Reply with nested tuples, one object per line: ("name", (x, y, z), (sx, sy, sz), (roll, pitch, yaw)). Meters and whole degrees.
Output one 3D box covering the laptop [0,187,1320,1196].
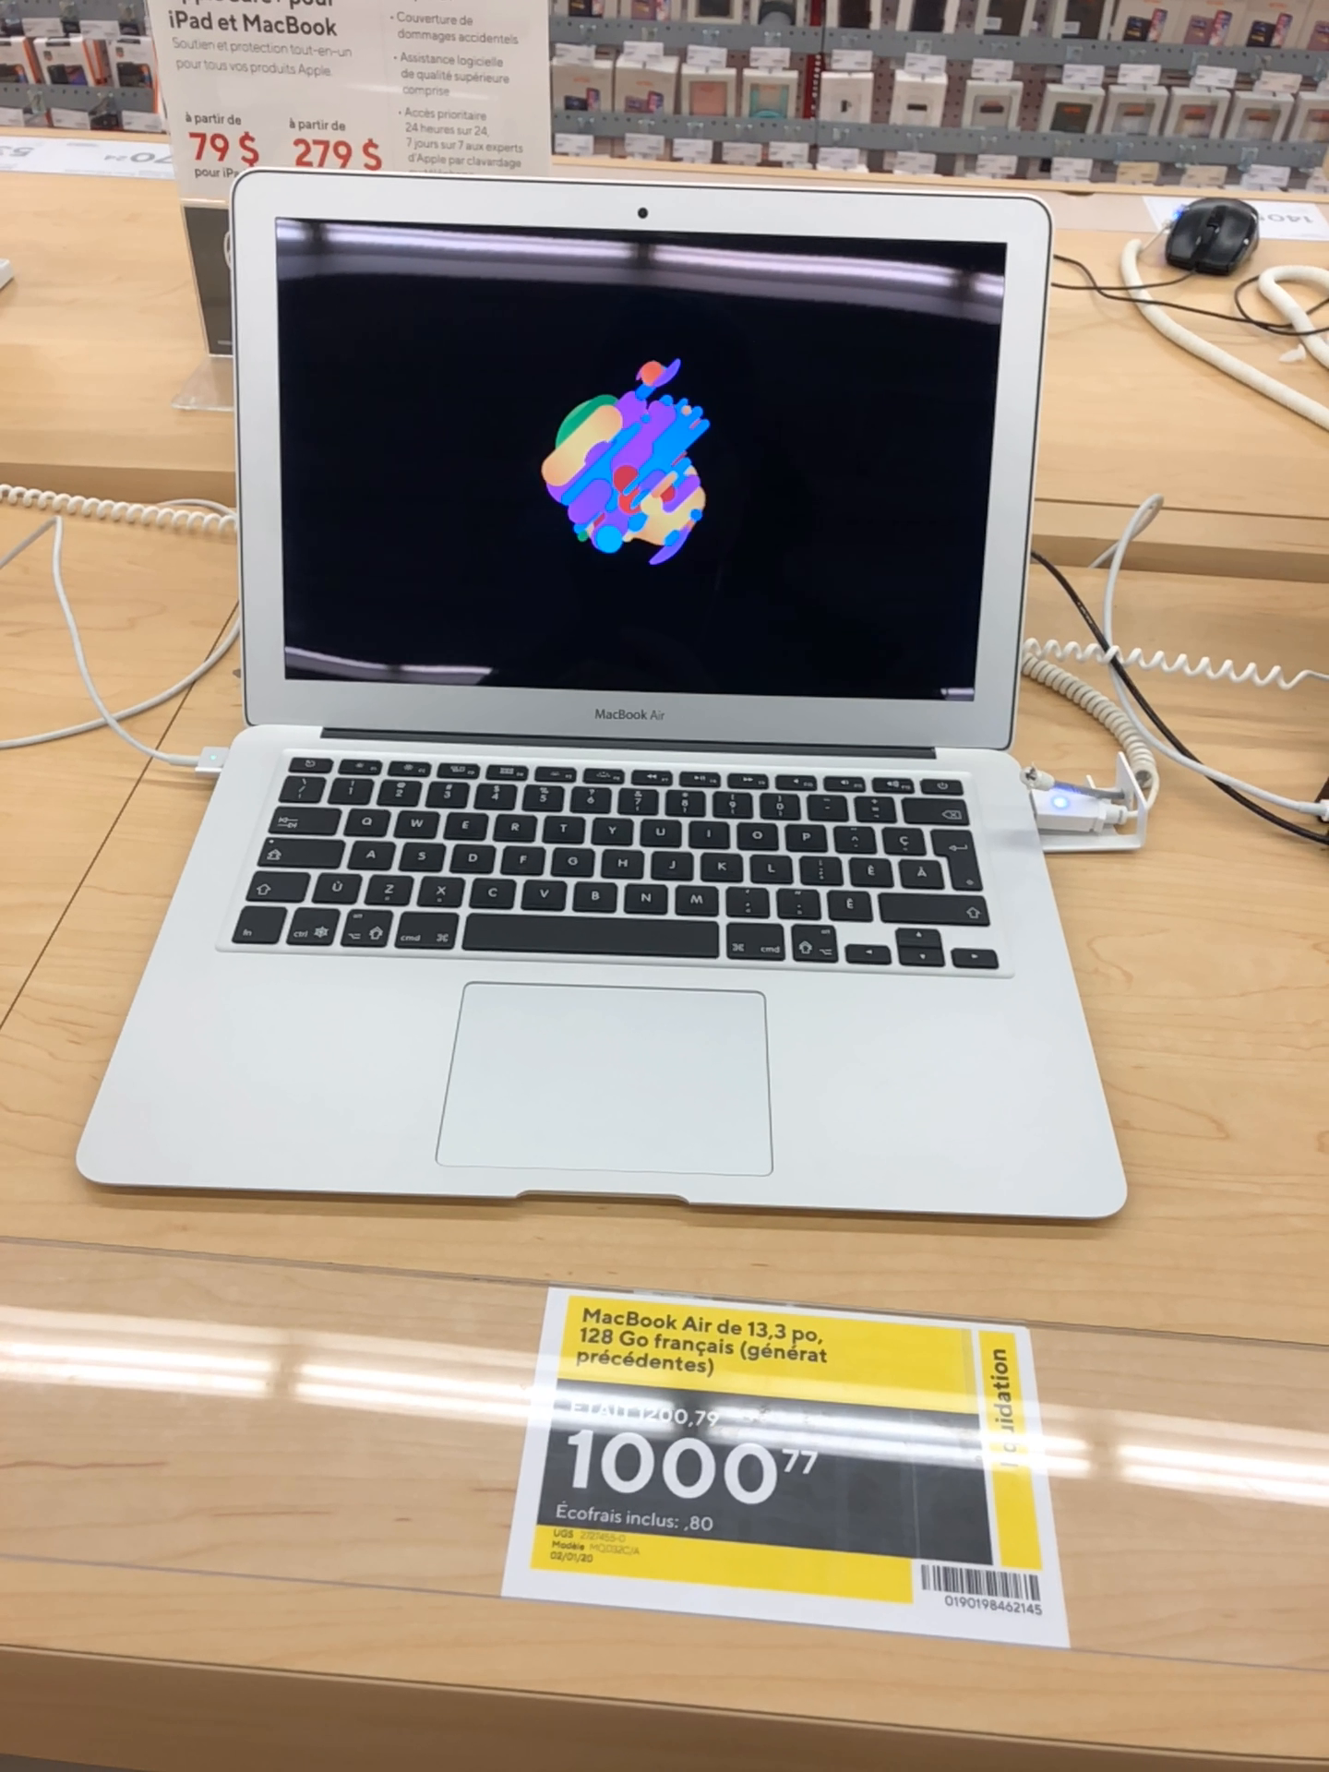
("laptop", (-0.013, -0.085, 0.494), (0.305, 0.186, 0.326), (2, 40, -2))
